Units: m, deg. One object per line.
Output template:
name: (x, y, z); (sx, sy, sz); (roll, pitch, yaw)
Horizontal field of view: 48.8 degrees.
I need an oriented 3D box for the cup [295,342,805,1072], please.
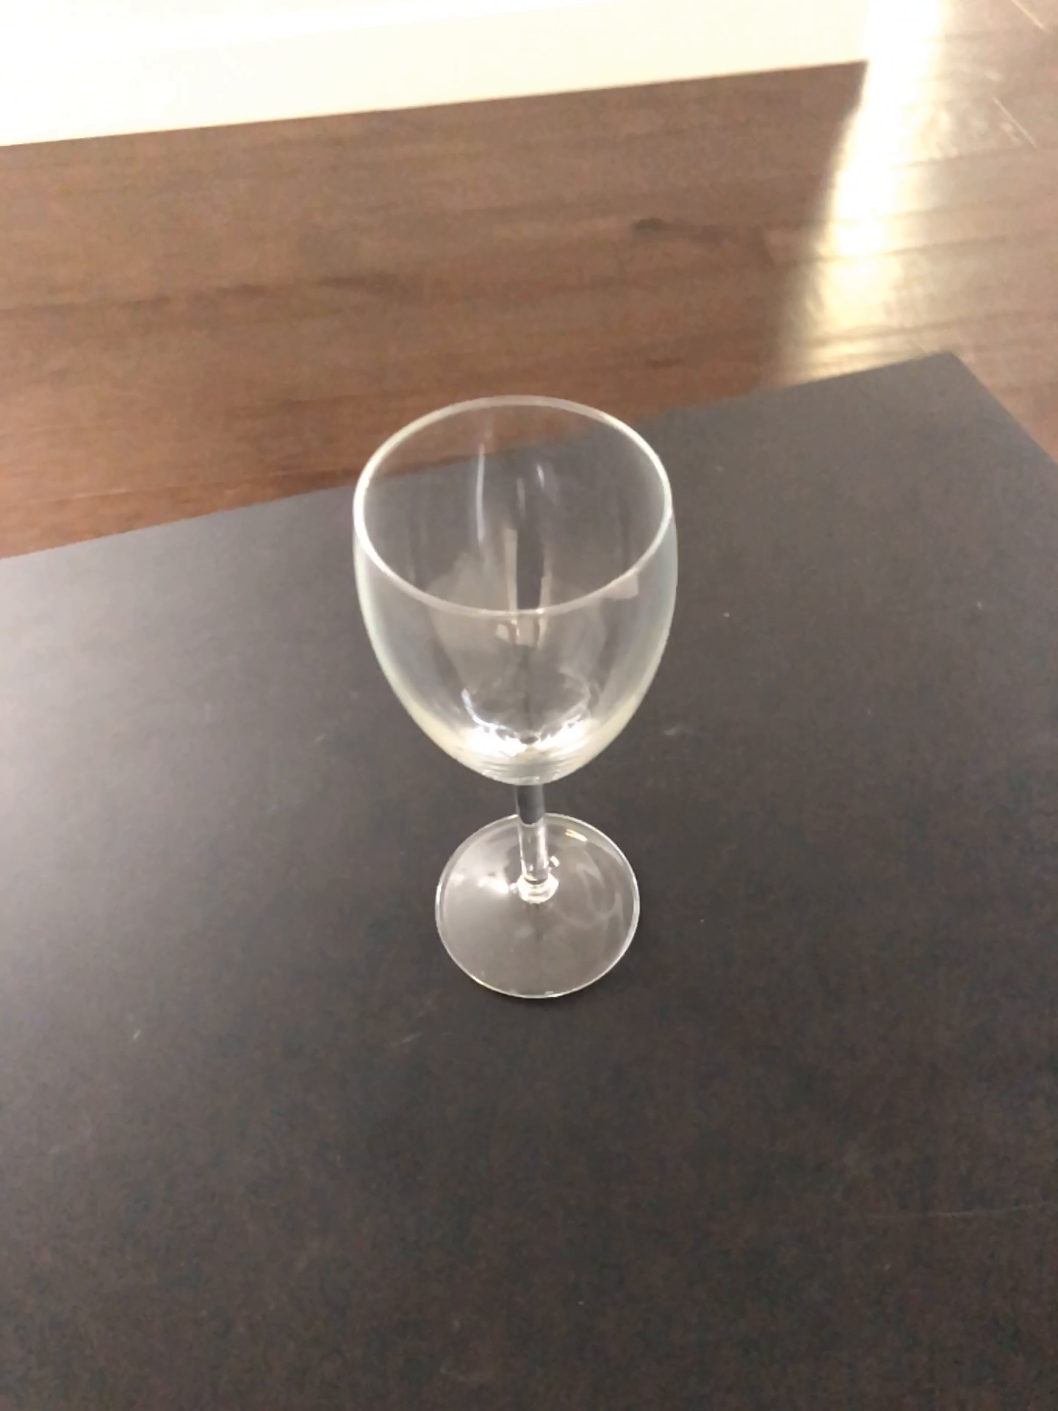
cup: (0.005, 0.011, 0.318); (0.080, 0.179, 0.080); (-1, 50, 2)
